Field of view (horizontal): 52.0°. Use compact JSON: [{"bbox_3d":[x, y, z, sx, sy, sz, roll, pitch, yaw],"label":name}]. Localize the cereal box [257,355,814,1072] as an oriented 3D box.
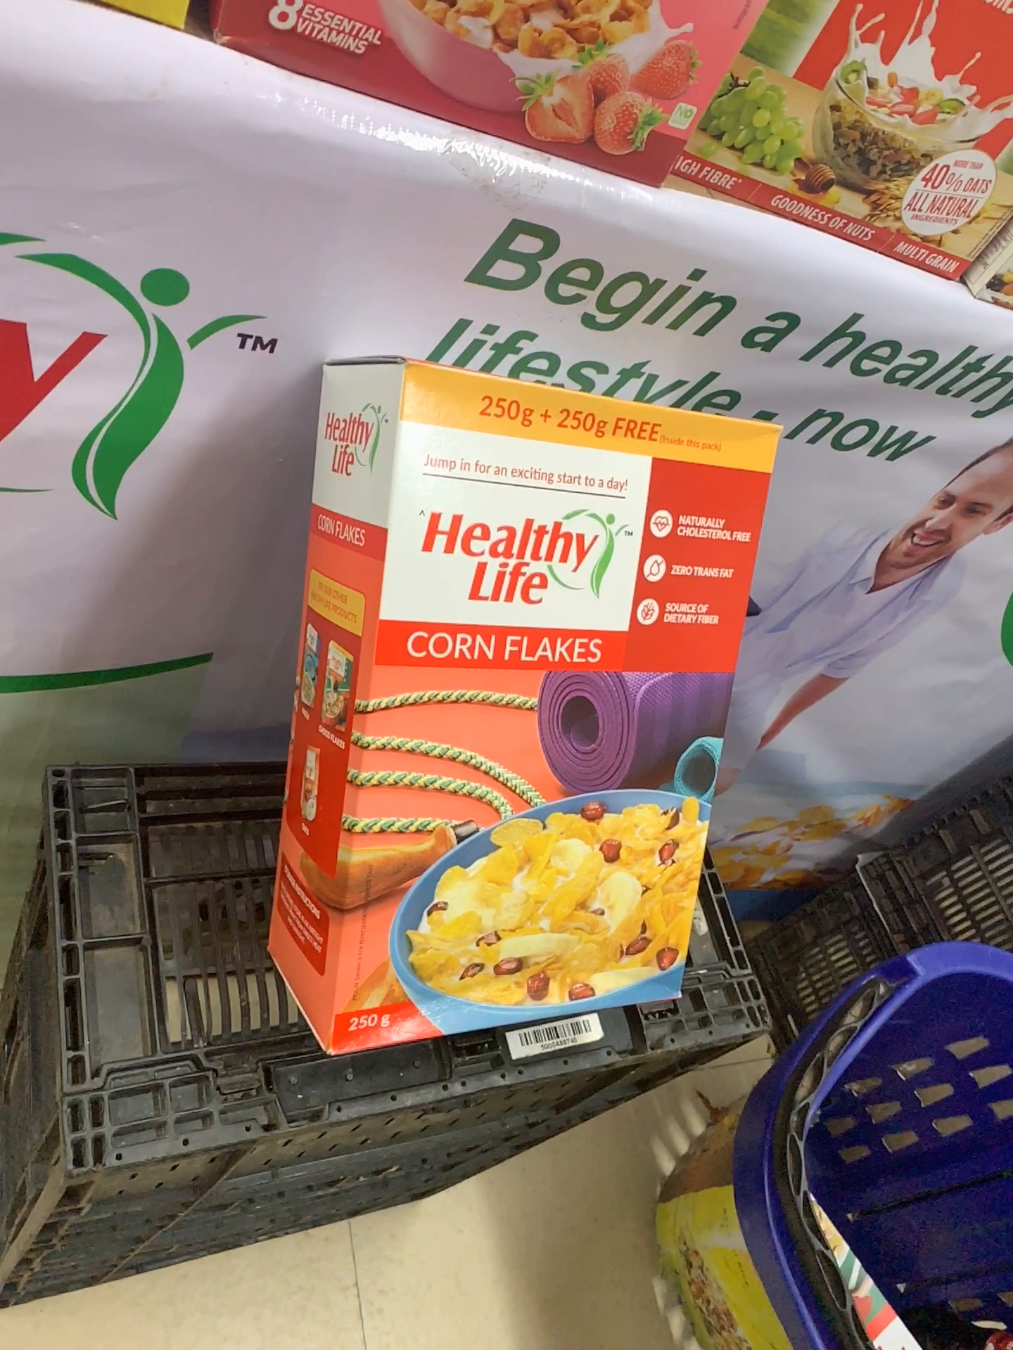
[{"bbox_3d":[0.009,0.015,0.477,0.200,0.280,0.090,2,13,-29],"label":"cereal box"}]
